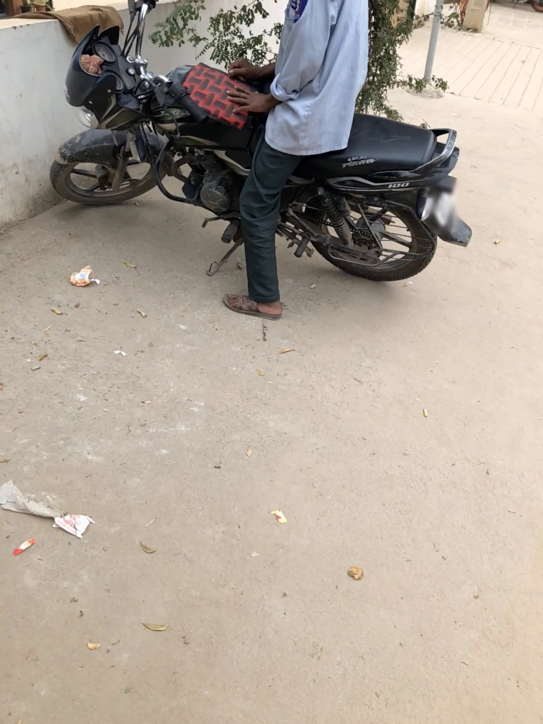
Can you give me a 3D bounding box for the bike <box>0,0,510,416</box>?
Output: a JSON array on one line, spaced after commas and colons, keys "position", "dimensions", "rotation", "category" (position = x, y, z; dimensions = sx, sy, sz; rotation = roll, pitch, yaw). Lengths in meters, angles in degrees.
[{"position": [-0.055, -0.740, 2.337], "dimensions": [1.496, 1.333, 0.791], "rotation": [13, 37, 11], "category": "bike"}]
